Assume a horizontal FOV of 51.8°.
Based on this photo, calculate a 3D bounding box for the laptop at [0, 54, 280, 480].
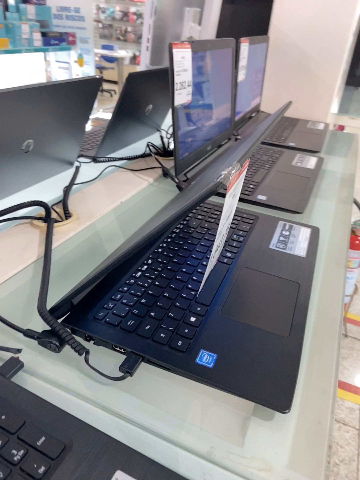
[{"bbox_3d":[-0.202,0.108,0.092,0.326,0.231,0.402,18,32,19],"label":"laptop"}]

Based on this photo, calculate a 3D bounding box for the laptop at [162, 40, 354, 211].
[{"bbox_3d":[0.188,-0.279,0.816,0.283,0.247,0.401,16,31,18],"label":"laptop"}]

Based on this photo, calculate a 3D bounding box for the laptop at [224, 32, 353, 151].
[{"bbox_3d":[0.328,-0.471,1.124,0.283,0.241,0.325,19,35,22],"label":"laptop"}]

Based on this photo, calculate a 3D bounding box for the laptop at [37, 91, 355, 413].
[{"bbox_3d":[0.063,-0.047,0.461,0.238,0.185,0.381,16,32,17],"label":"laptop"}]
